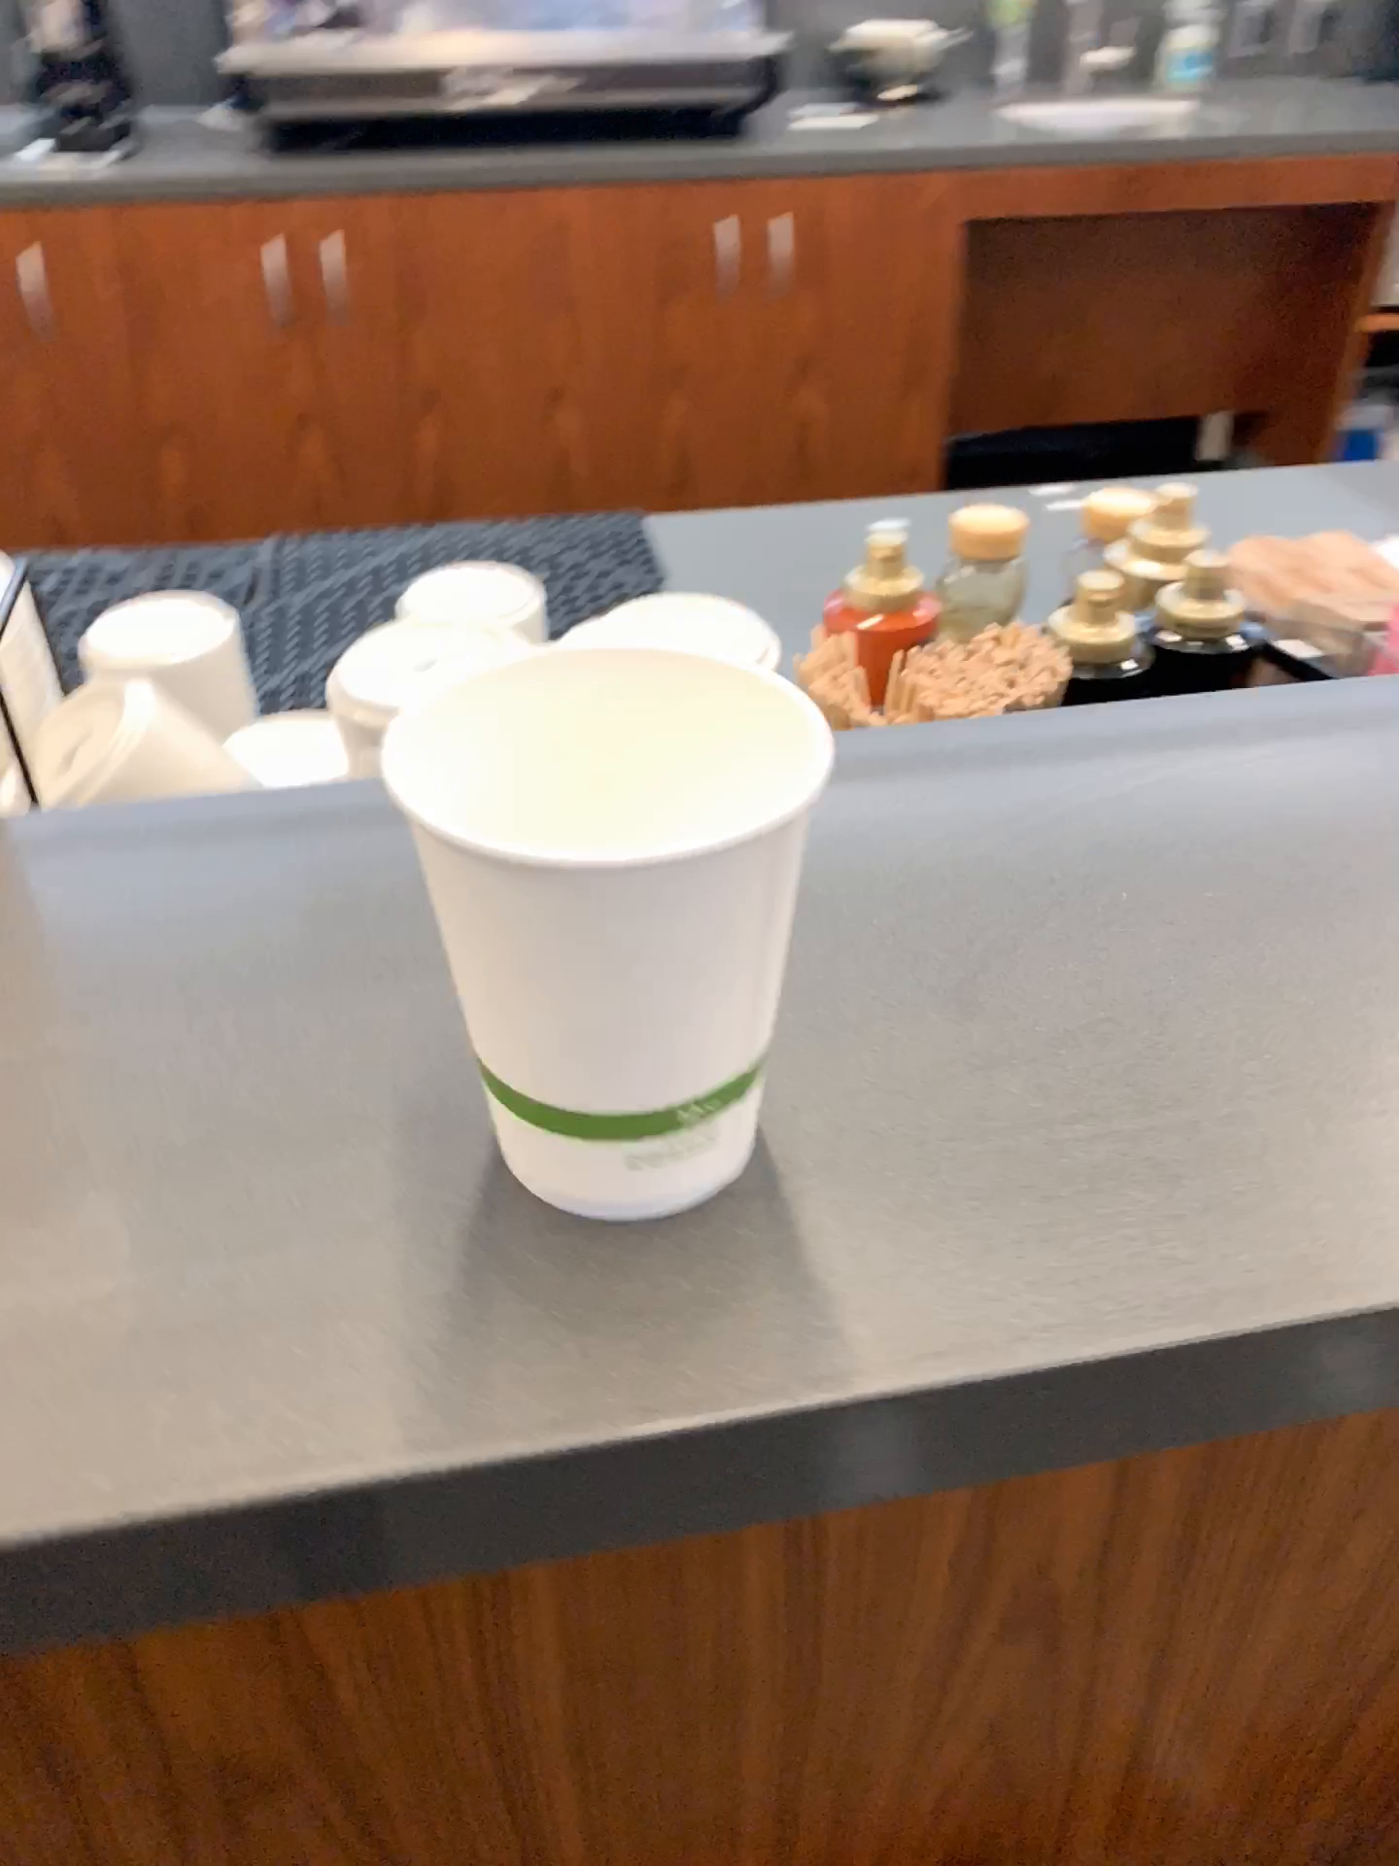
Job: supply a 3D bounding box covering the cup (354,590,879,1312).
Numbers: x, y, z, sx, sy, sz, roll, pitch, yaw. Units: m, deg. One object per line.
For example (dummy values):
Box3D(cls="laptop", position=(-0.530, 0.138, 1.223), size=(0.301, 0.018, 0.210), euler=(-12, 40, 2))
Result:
Box3D(cls="cup", position=(-0.019, 0.002, 0.319), size=(0.080, 0.119, 0.080), euler=(0, 37, 0))
